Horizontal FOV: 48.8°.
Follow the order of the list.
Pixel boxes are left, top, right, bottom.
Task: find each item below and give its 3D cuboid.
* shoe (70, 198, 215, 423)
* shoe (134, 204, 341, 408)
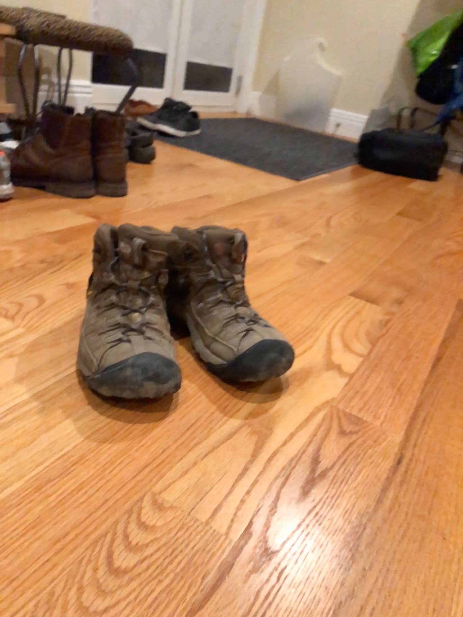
[{"bbox_3d":[-0.116,-0.015,0.571,0.108,0.139,0.260,1,27,-21],"label":"shoe"},{"bbox_3d":[-0.012,-0.021,0.627,0.108,0.139,0.260,-7,31,-34],"label":"shoe"}]
